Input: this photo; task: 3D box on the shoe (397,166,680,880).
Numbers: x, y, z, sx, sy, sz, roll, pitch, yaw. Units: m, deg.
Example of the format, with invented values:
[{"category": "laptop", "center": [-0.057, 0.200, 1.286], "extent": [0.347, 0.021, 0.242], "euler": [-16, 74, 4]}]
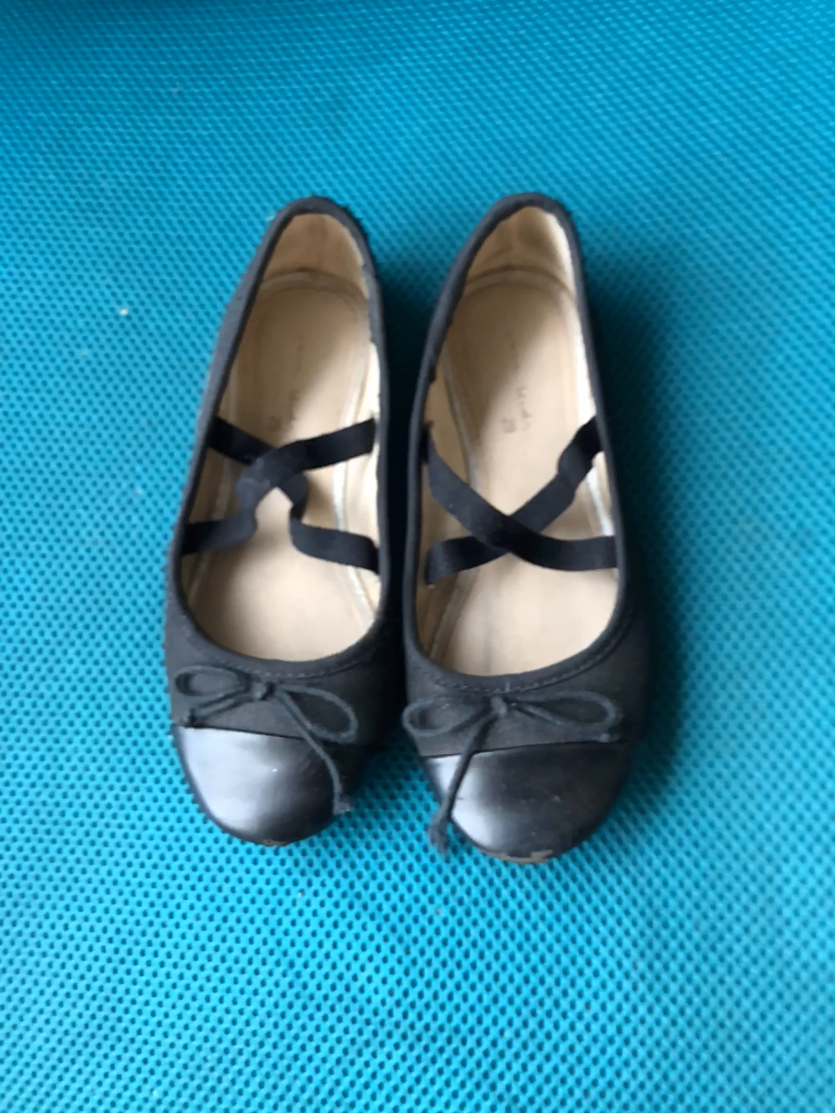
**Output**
[{"category": "shoe", "center": [0.032, -0.010, 0.272], "extent": [0.068, 0.050, 0.190], "euler": [-2, 78, 8]}]

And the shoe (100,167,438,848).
[{"category": "shoe", "center": [-0.039, -0.016, 0.289], "extent": [0.080, 0.050, 0.194], "euler": [0, 79, 9]}]
